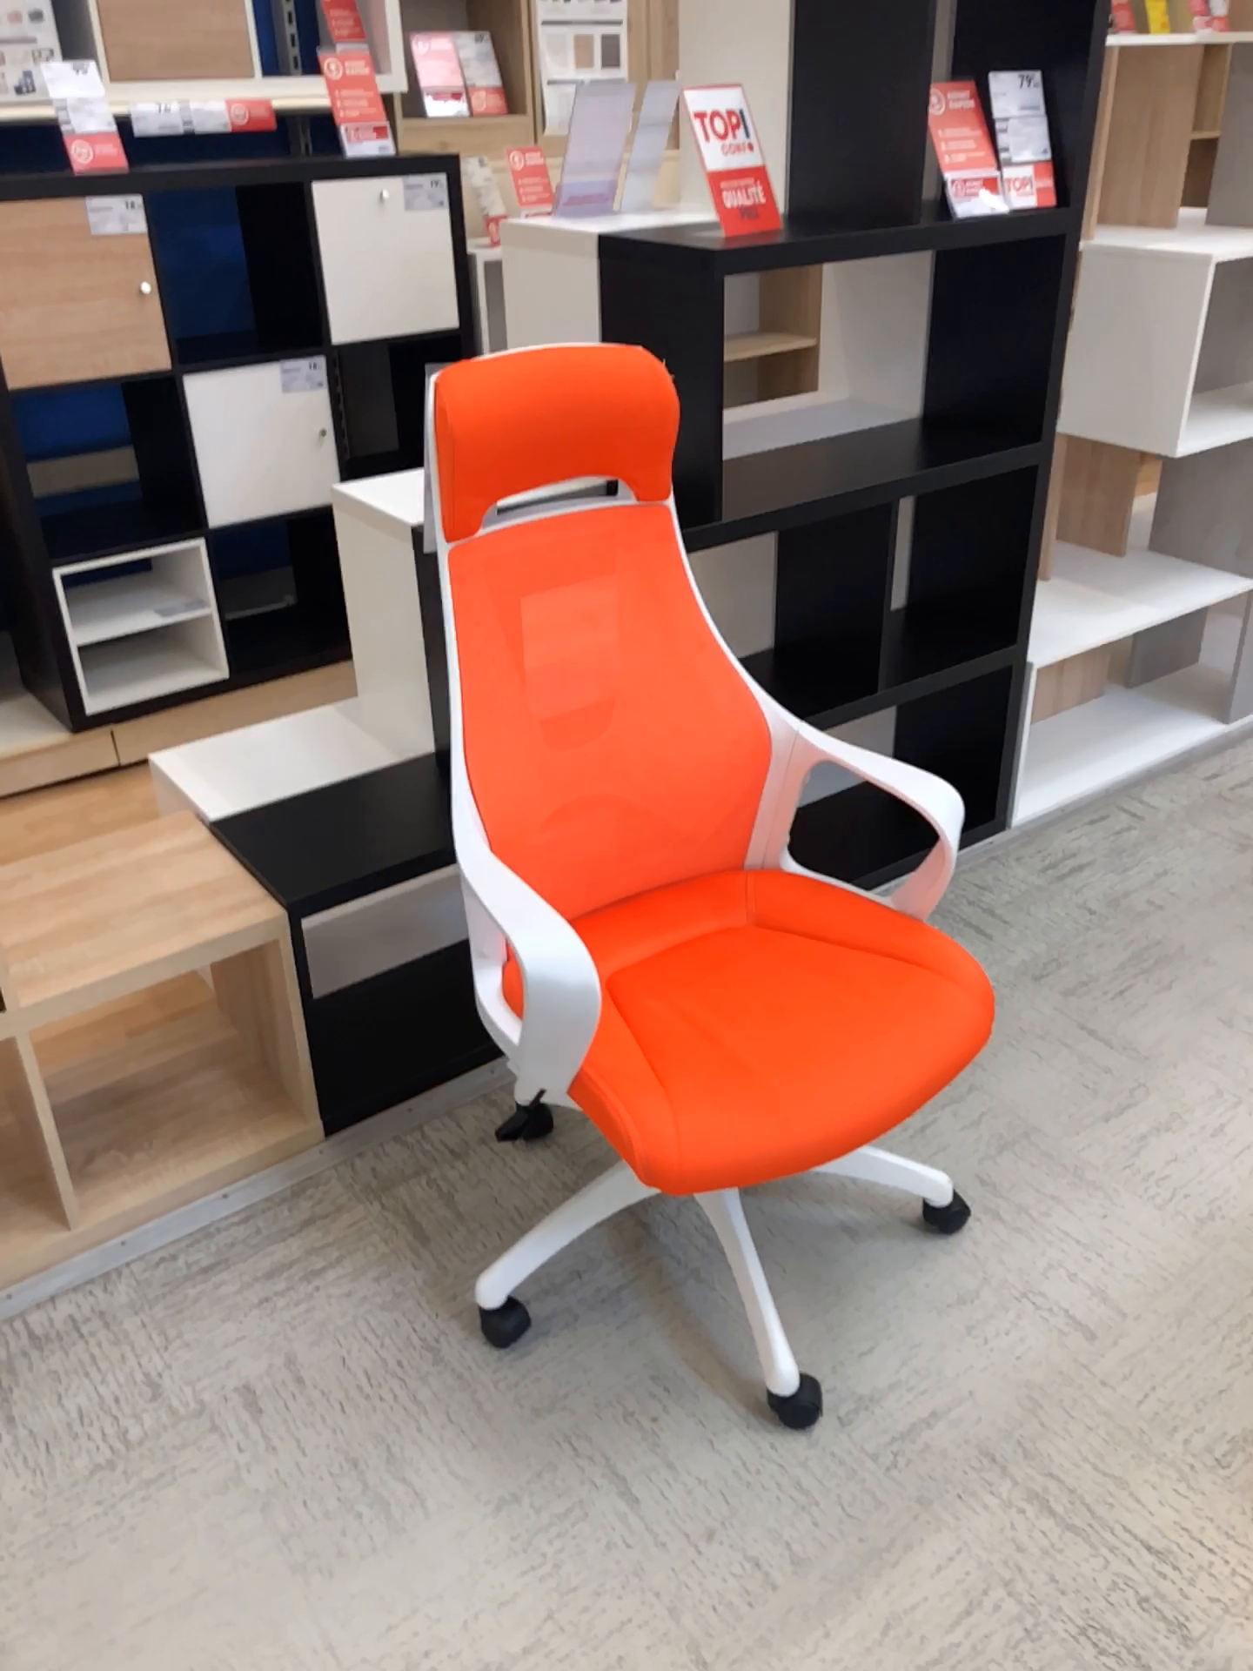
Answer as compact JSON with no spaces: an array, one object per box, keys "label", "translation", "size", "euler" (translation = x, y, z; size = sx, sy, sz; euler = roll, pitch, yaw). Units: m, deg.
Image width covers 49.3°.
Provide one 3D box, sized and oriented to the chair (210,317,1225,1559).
[{"label":"chair","translation":[0.060,0.032,1.587],"size":[0.683,1.054,0.751],"euler":[-18,32,-28]}]
